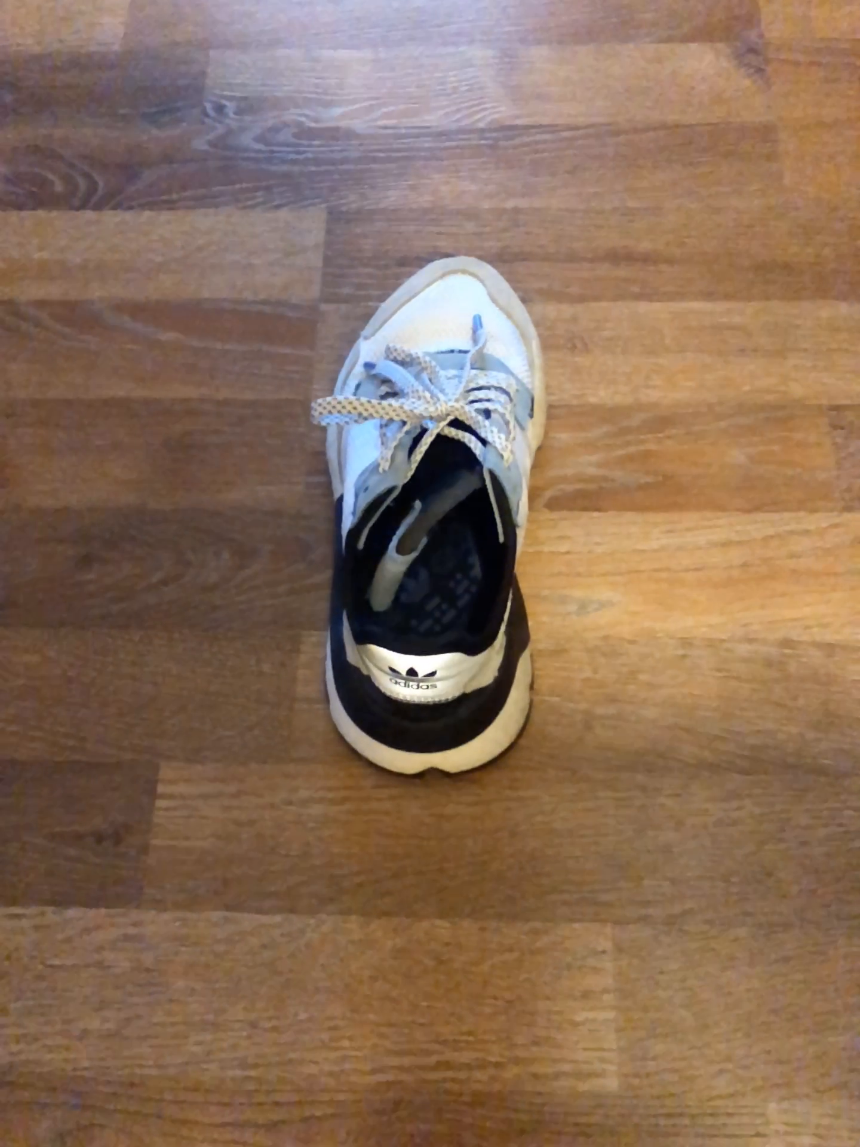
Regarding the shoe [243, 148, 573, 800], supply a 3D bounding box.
[{"bbox_3d":[-0.004,-0.045,0.429,0.113,0.110,0.271,0,68,2],"label":"shoe"}]
